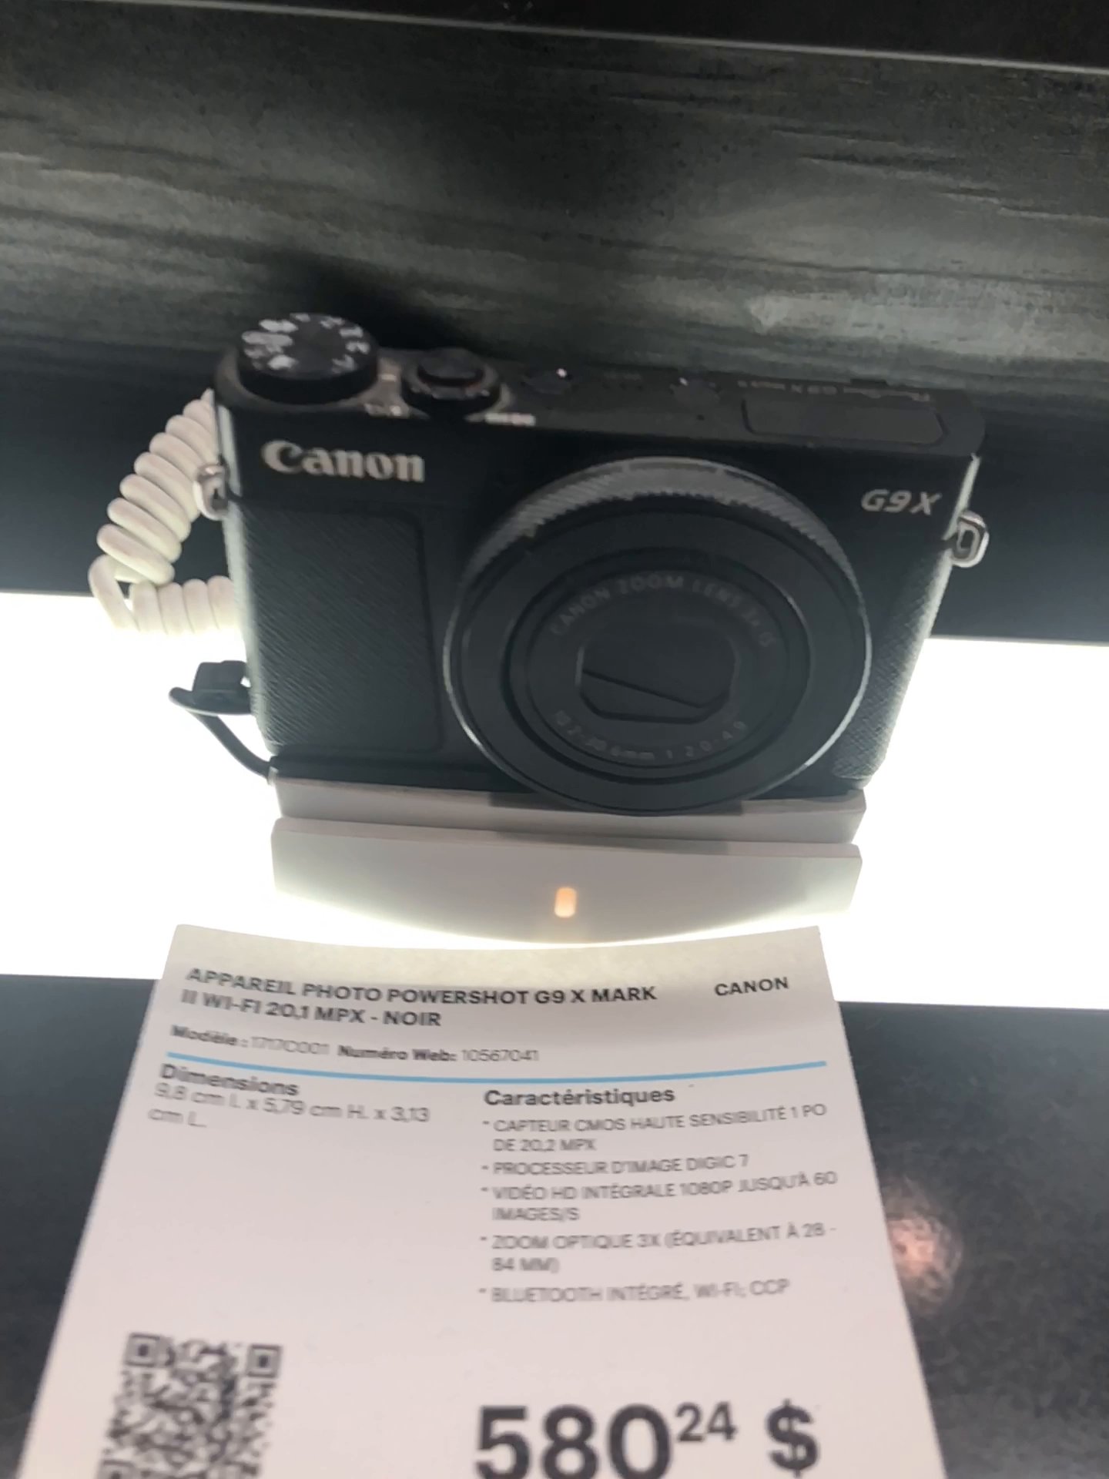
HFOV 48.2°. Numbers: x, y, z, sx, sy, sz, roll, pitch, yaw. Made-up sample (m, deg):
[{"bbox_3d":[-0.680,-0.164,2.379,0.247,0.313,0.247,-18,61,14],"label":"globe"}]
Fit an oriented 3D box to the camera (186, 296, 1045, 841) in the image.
[{"bbox_3d":[0.005,-0.020,0.161,0.092,0.060,0.026,3,40,-1],"label":"camera"}]
